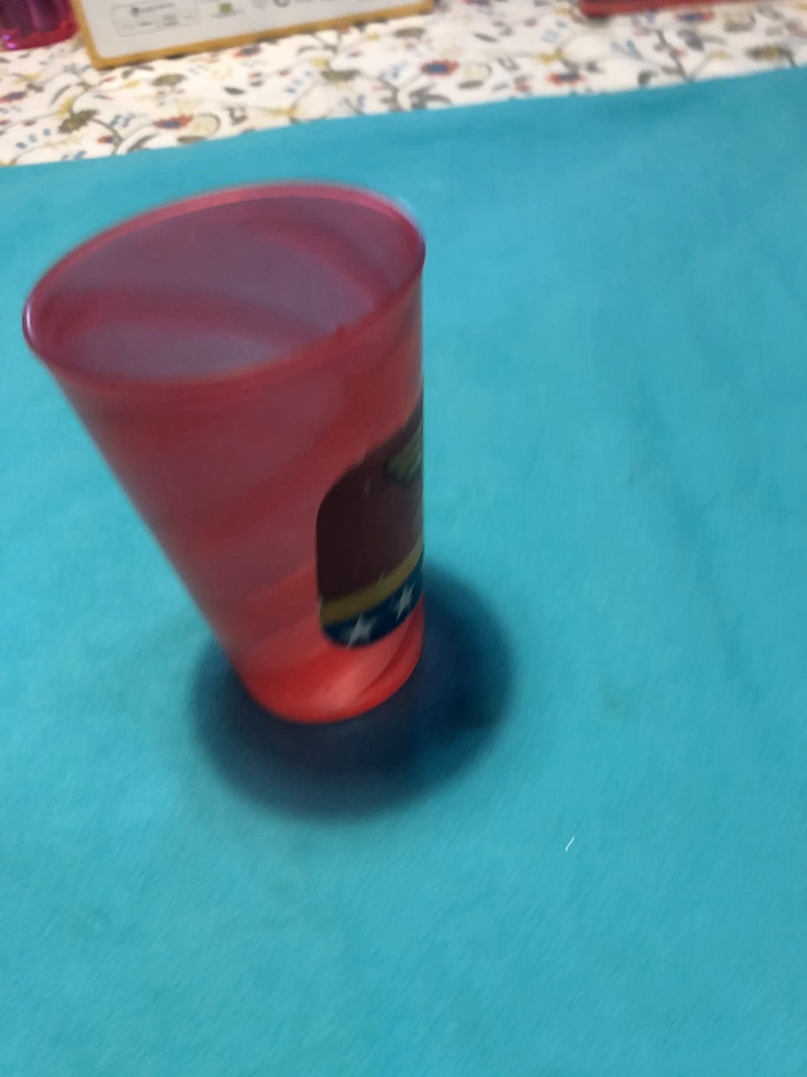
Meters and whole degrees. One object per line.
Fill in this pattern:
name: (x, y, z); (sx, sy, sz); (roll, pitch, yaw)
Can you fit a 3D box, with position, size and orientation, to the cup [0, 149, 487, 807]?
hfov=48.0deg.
cup: (-0.035, -0.012, 0.212); (0.090, 0.109, 0.091); (-5, 44, 5)
